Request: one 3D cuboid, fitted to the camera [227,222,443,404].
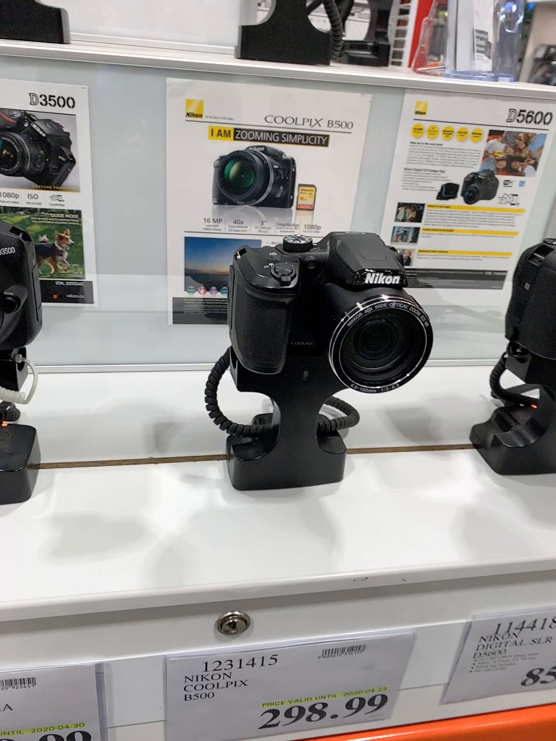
[{"bbox_3d":[0.029,-0.039,0.361,0.110,0.089,0.071,-3,30,-13],"label":"camera"}]
